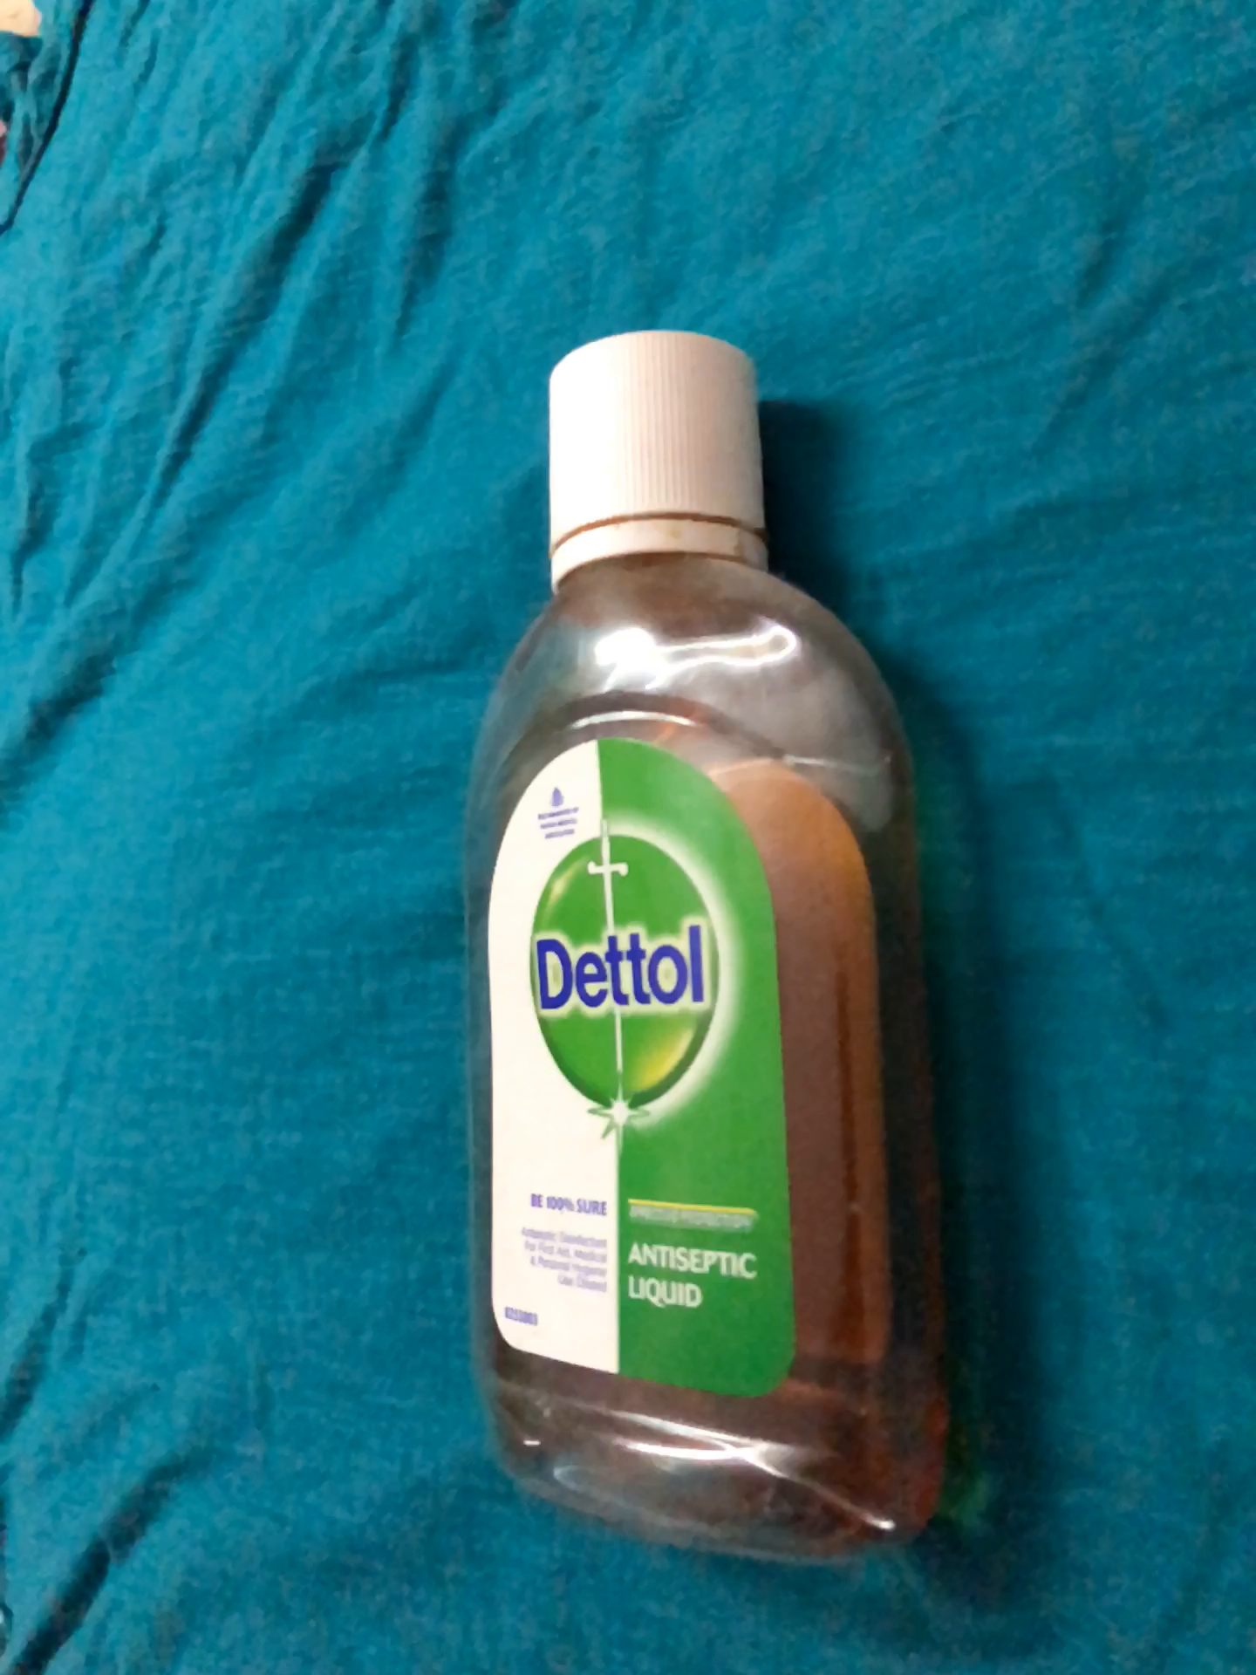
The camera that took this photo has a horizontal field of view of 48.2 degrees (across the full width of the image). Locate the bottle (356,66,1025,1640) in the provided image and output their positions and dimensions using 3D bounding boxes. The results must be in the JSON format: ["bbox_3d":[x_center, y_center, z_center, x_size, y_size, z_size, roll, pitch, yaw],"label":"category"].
[{"bbox_3d":[0.006,0.000,0.199,0.080,0.040,0.180,-7,79,38],"label":"bottle"}]
